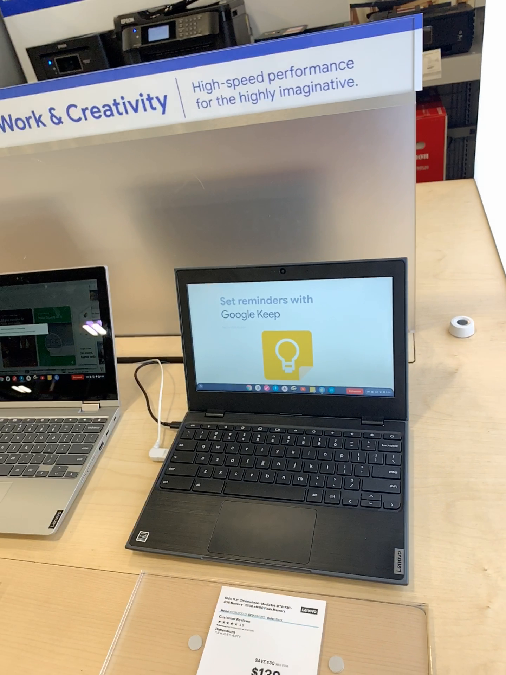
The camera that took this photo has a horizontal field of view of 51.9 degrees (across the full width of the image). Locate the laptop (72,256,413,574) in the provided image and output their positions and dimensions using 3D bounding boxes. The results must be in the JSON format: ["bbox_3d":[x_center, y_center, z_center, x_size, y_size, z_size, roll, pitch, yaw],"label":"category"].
[{"bbox_3d":[0.024,0.062,0.552,0.275,0.170,0.267,0,37,18],"label":"laptop"}]
